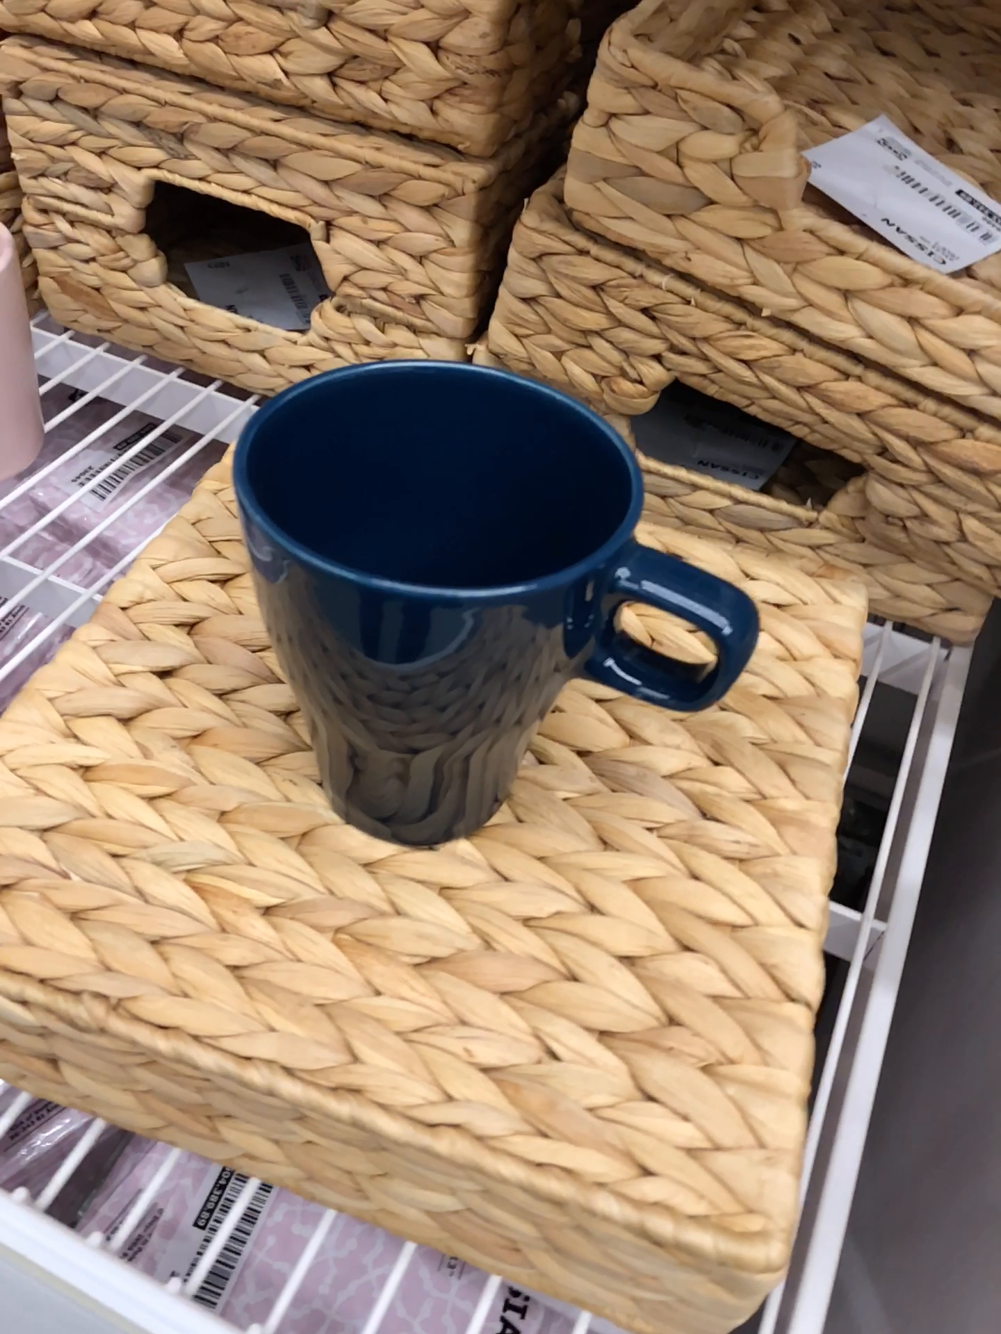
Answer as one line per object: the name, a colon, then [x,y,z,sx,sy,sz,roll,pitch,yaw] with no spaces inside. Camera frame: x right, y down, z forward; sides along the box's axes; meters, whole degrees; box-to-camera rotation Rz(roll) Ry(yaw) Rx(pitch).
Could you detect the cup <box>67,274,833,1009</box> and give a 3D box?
cup: [-0.011,-0.010,0.241,0.120,0.090,0.080,27,48,19]
